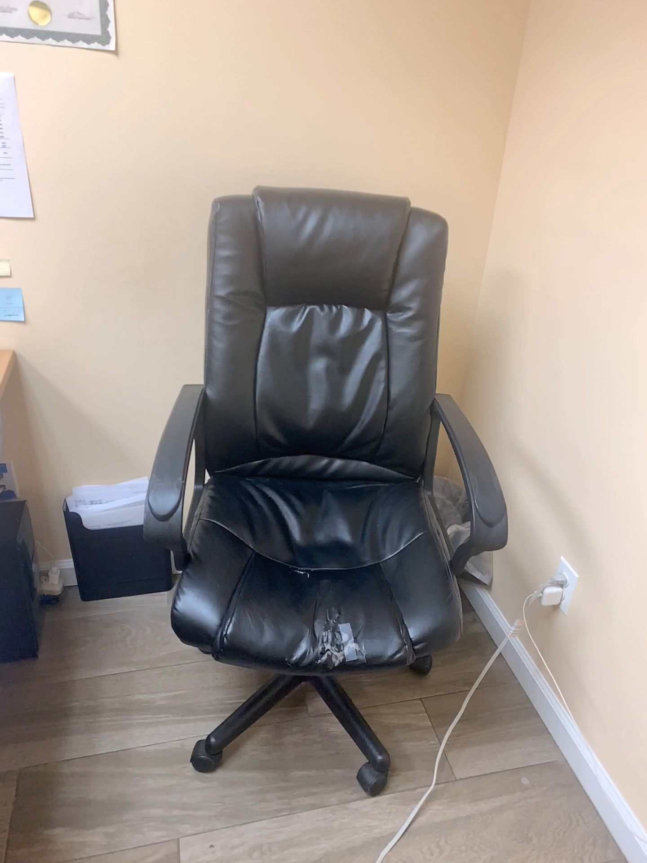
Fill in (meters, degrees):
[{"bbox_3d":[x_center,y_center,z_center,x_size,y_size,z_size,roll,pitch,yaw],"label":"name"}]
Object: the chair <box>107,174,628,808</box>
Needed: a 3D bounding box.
[{"bbox_3d":[0.022,0.111,1.334,0.648,1.083,0.630,3,27,-2],"label":"chair"}]
